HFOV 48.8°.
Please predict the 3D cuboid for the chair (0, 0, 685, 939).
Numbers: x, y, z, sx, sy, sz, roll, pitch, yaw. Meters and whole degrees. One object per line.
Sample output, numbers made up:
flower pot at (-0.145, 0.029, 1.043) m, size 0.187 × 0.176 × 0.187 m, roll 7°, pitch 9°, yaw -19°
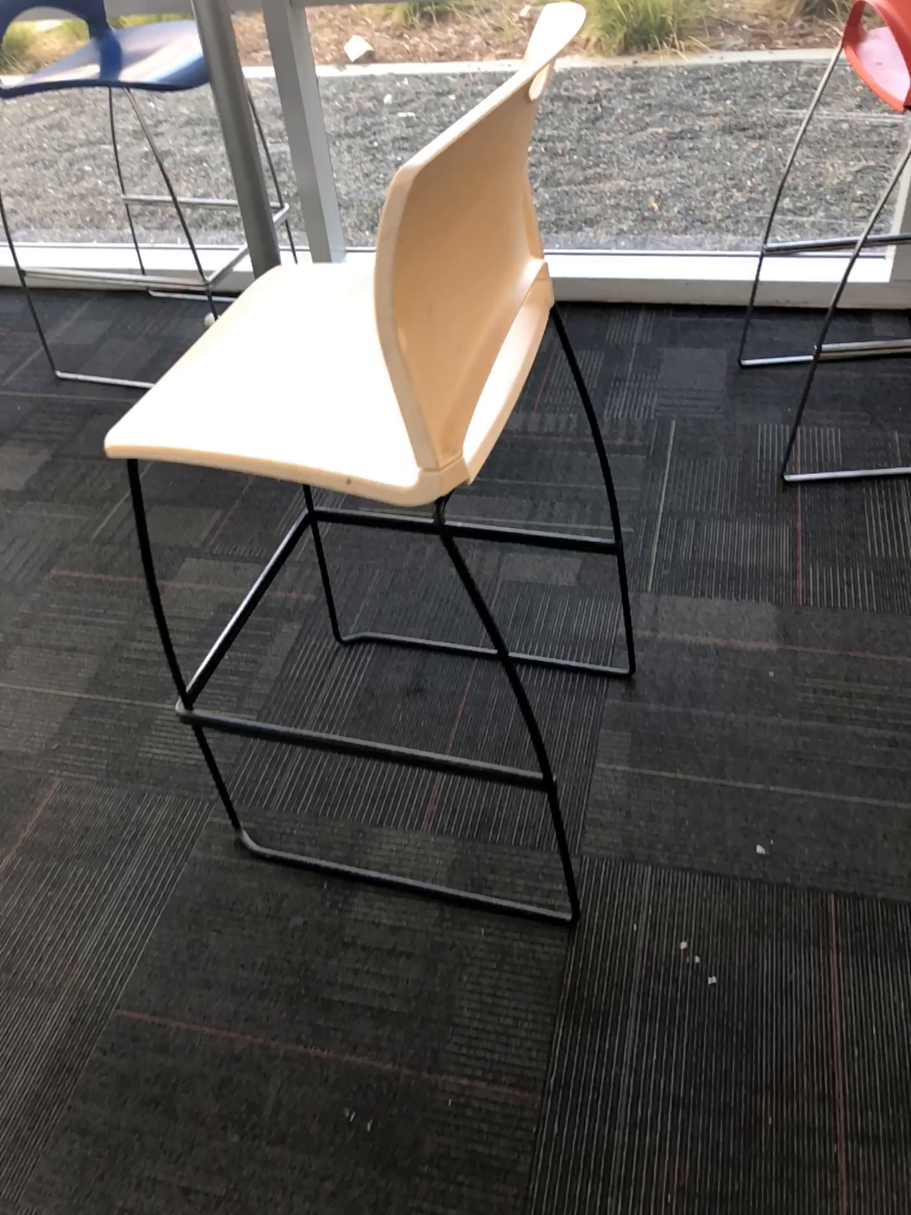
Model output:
chair at (-0.133, -0.165, 1.299) m, size 0.721 × 0.995 × 0.582 m, roll 7°, pitch 44°, yaw 16°
